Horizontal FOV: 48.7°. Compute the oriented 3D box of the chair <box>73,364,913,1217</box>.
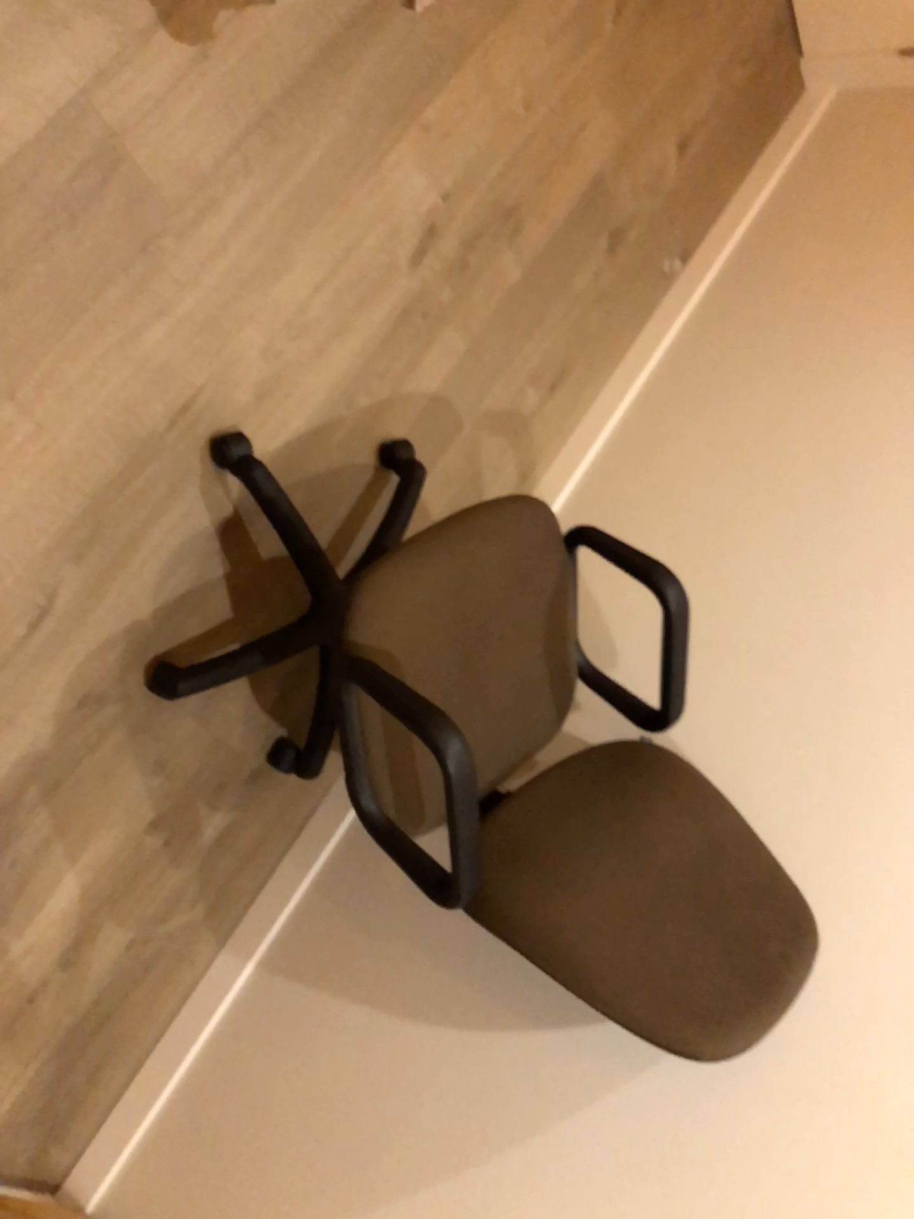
[{"bbox_3d":[0.056,0.129,1.492,0.633,0.975,0.711,-31,127,-37],"label":"chair"}]
